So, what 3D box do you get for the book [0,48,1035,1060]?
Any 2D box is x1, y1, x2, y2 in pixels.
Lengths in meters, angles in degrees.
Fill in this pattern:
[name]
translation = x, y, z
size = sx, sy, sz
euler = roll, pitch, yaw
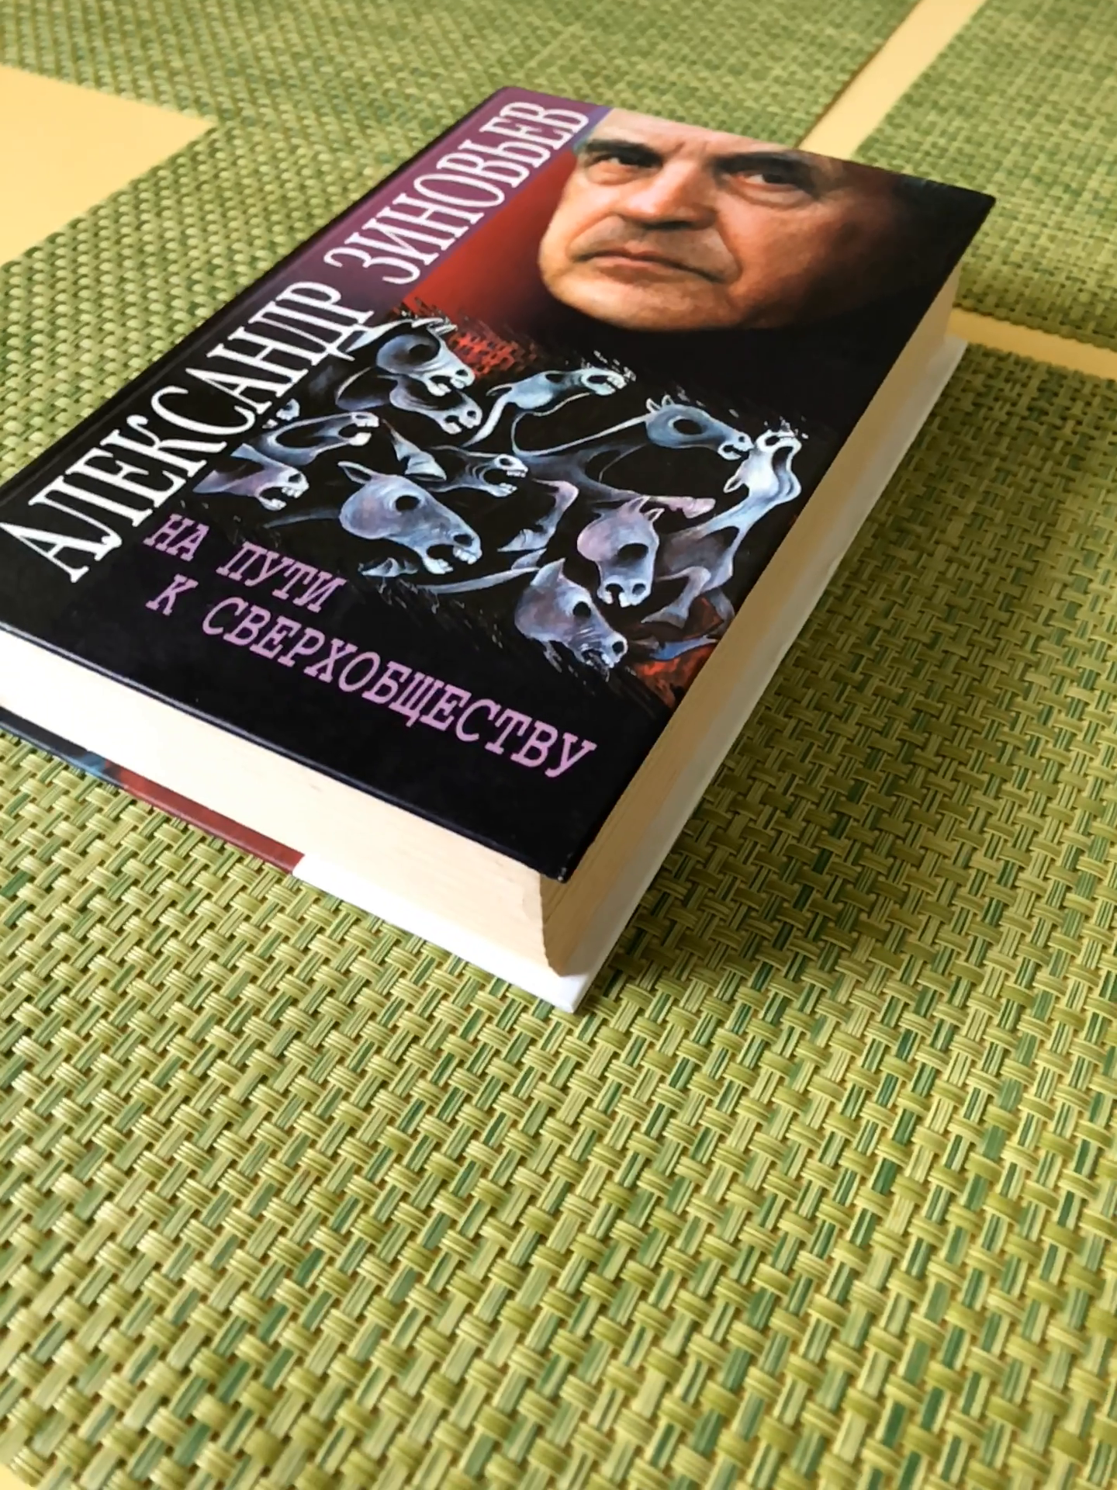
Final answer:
[book]
translation = -0.013, -0.063, 0.246
size = 0.150, 0.040, 0.201
euler = 23, 55, 18
